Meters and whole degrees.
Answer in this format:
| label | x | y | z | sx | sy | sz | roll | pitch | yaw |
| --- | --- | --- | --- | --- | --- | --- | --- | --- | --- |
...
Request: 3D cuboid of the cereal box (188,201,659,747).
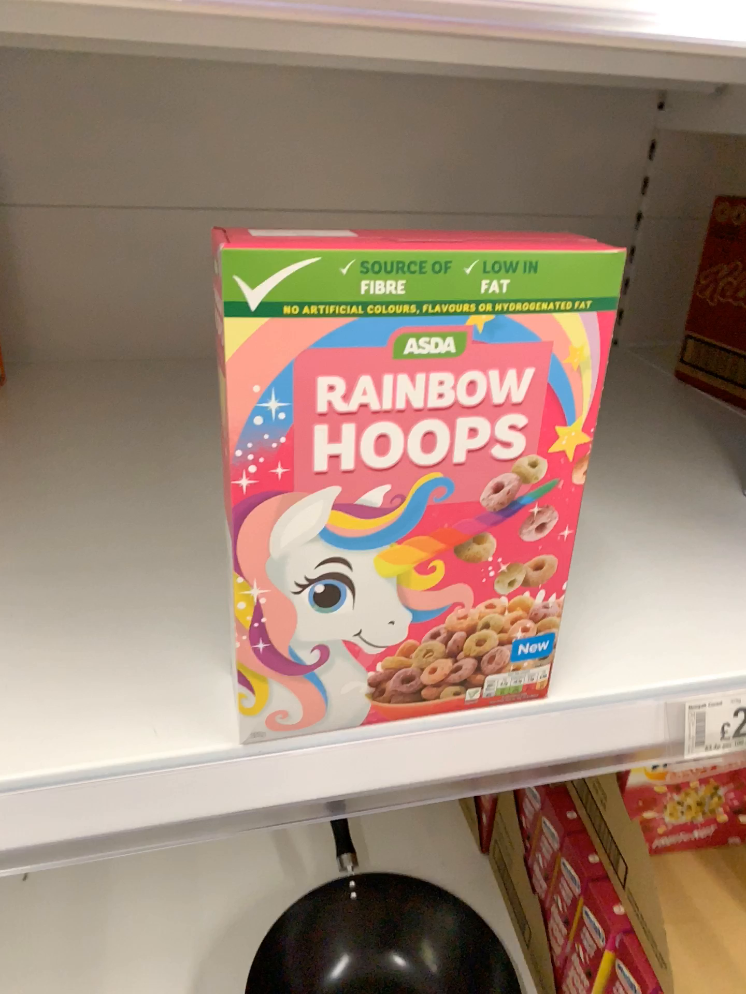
| label | x | y | z | sx | sy | sz | roll | pitch | yaw |
| --- | --- | --- | --- | --- | --- | --- | --- | --- | --- |
| cereal box | 0.017 | -0.007 | 0.416 | 0.210 | 0.278 | 0.060 | -4 | 27 | -15 |
